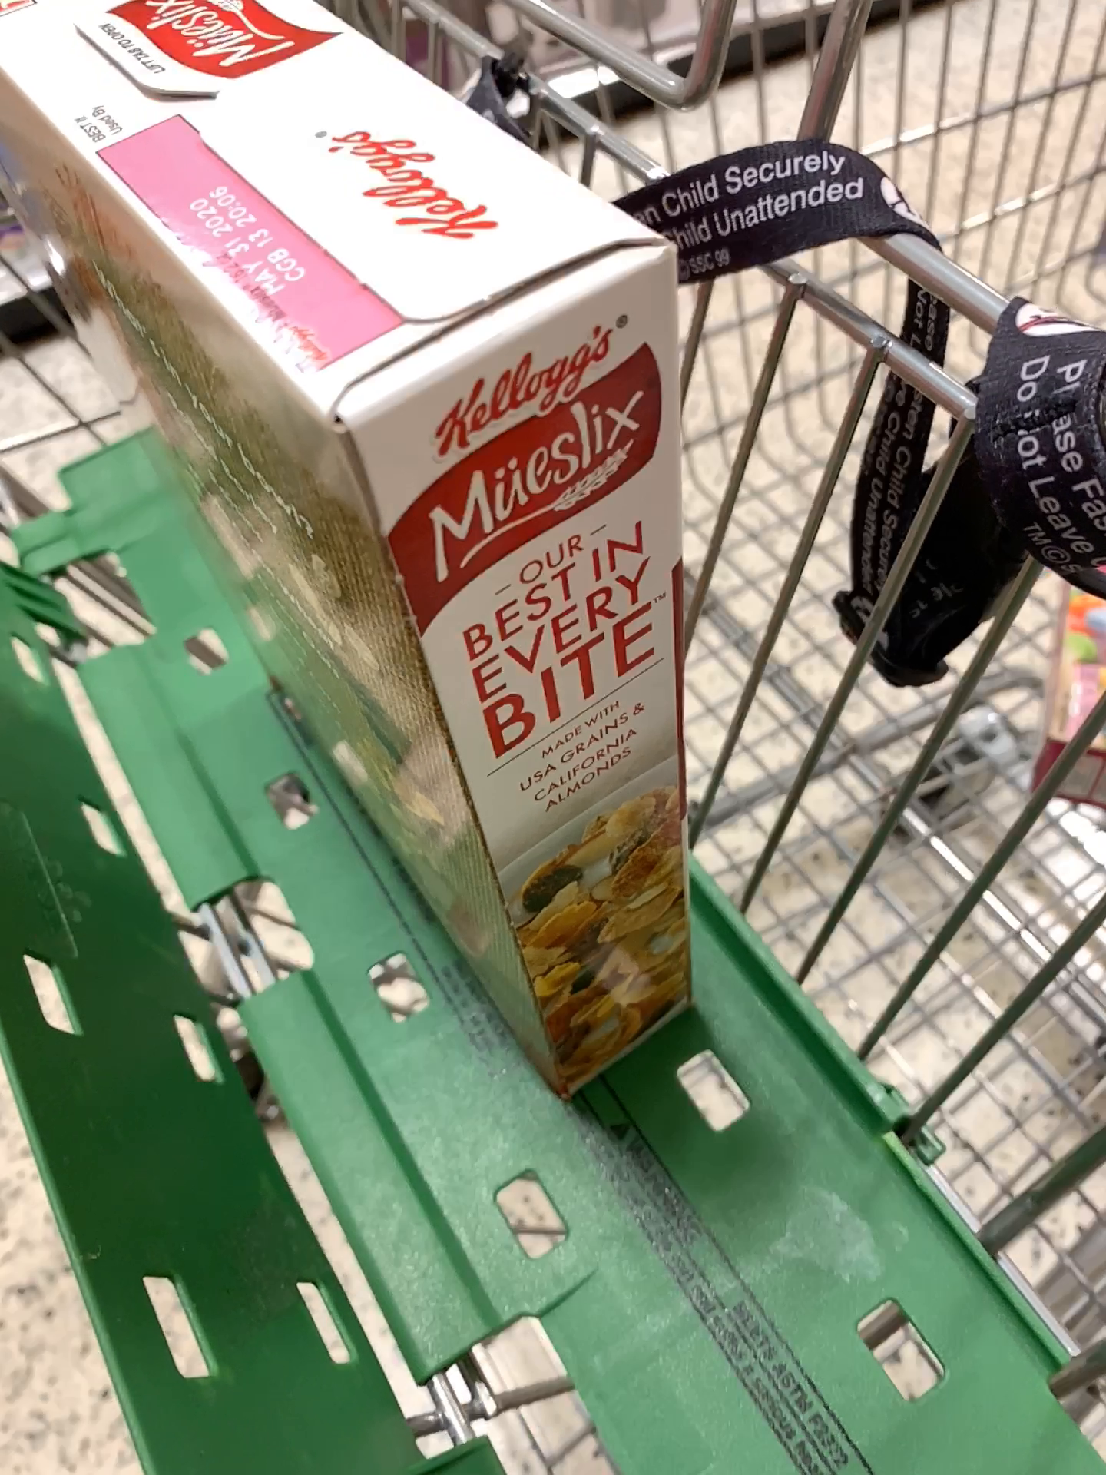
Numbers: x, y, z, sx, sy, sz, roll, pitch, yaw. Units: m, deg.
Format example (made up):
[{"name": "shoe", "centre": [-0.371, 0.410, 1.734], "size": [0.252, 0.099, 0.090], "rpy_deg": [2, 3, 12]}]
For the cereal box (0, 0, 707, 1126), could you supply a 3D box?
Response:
[{"name": "cereal box", "centre": [-0.045, -0.040, 0.259], "size": [0.050, 0.248, 0.191], "rpy_deg": [-32, 59, -13]}]
